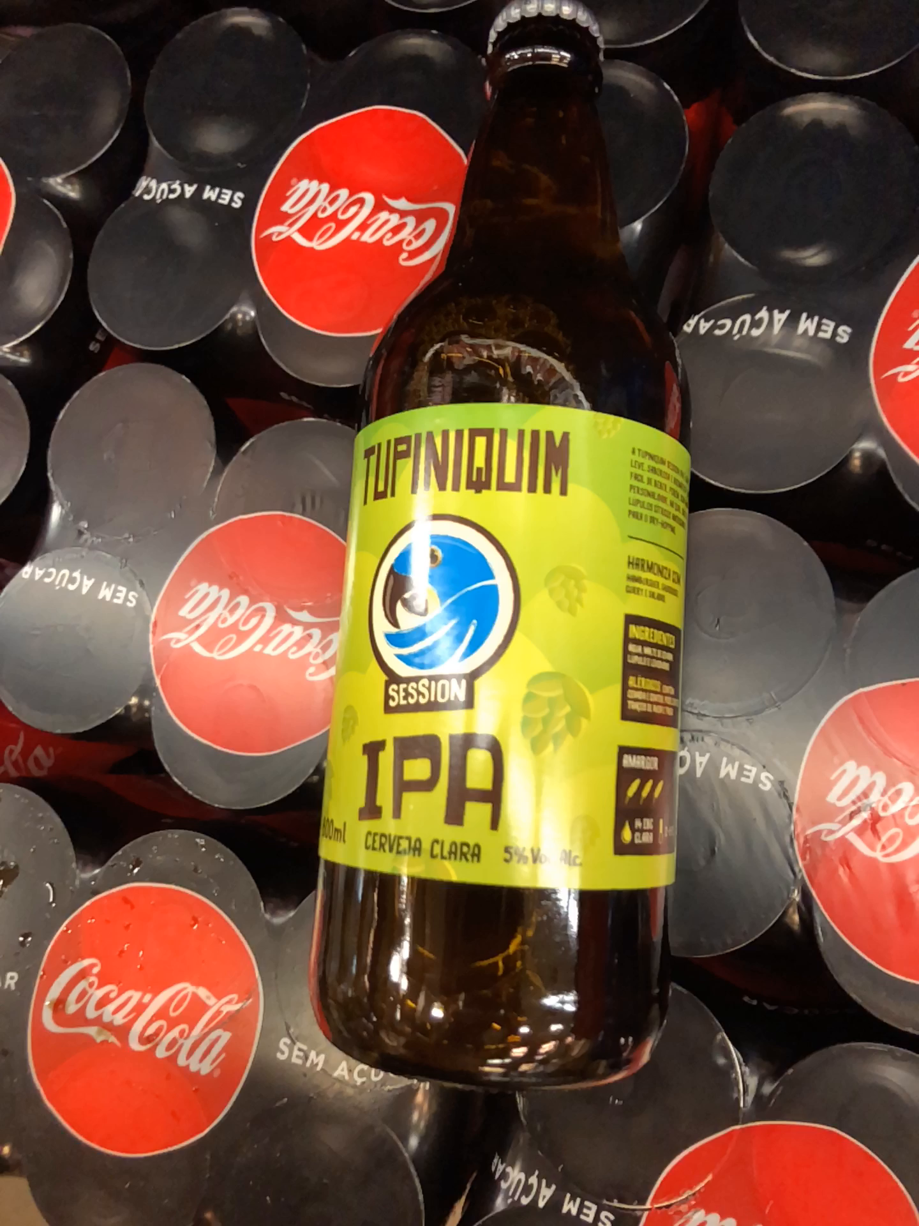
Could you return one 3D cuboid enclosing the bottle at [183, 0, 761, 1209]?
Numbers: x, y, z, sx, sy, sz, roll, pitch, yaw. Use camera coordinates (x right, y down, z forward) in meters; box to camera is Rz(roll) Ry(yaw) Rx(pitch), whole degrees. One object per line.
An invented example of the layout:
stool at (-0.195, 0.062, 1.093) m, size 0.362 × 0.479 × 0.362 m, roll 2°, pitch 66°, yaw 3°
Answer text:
bottle at (0.013, -0.035, 0.216) m, size 0.090 × 0.070 × 0.260 m, roll 1°, pitch 81°, yaw 13°
